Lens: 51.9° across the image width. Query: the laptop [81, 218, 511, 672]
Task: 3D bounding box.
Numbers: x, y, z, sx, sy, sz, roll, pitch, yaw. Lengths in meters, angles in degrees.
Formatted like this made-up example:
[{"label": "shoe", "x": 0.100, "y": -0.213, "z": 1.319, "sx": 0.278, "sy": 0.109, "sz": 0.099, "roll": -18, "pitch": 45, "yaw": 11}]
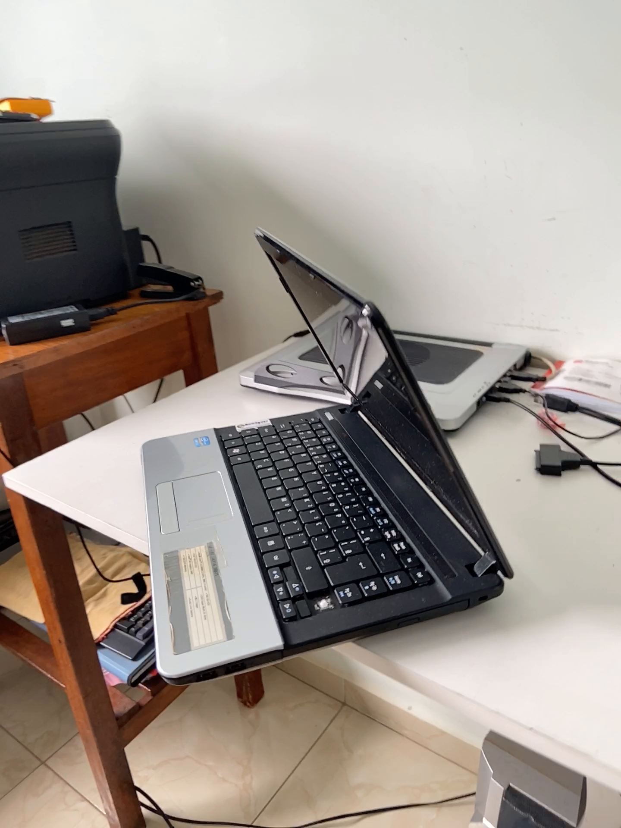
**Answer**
[{"label": "laptop", "x": -0.035, "y": -0.020, "z": 0.526, "sx": 0.238, "sy": 0.211, "sz": 0.328, "roll": -11, "pitch": 25, "yaw": -13}]
